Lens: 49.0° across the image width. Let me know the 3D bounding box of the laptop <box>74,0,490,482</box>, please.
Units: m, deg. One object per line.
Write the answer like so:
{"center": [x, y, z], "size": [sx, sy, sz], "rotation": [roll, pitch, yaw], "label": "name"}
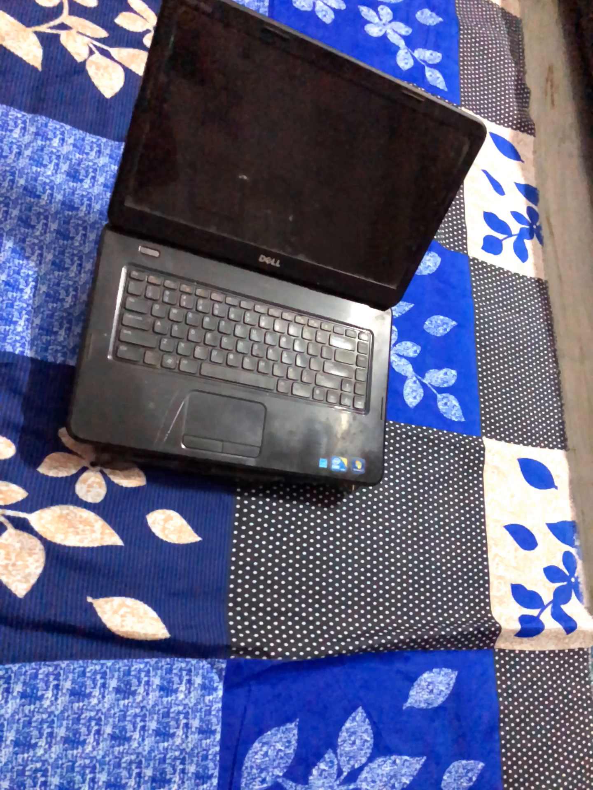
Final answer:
{"center": [0.001, -0.137, 0.690], "size": [0.364, 0.187, 0.389], "rotation": [12, 71, -26], "label": "laptop"}
